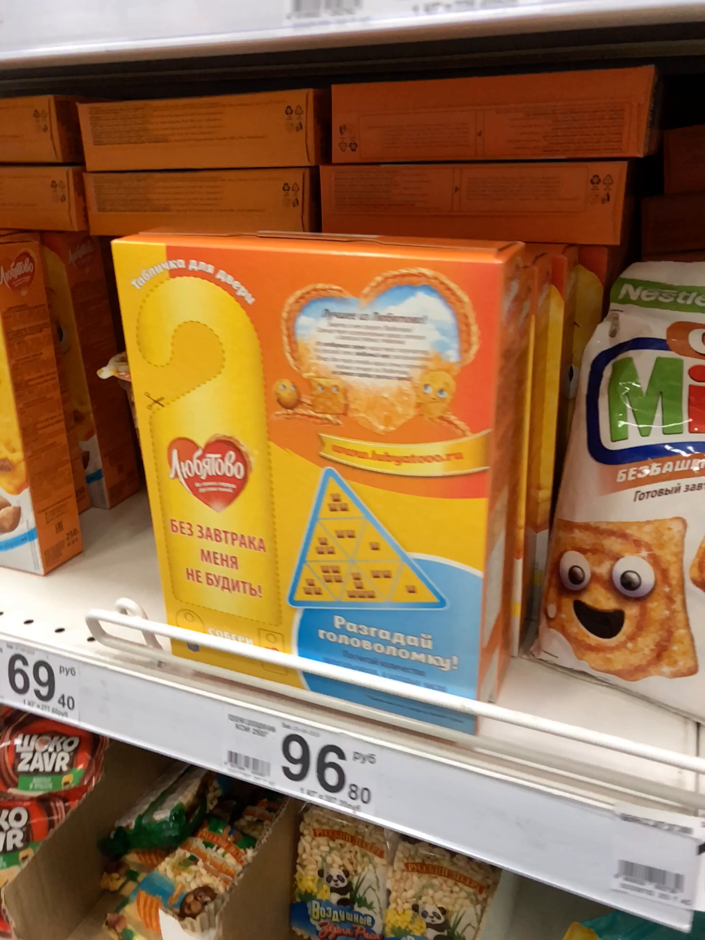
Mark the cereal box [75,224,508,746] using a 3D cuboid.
[{"bbox_3d":[-0.026,0.006,0.378,0.180,0.229,0.050,8,27,21],"label":"cereal box"}]
